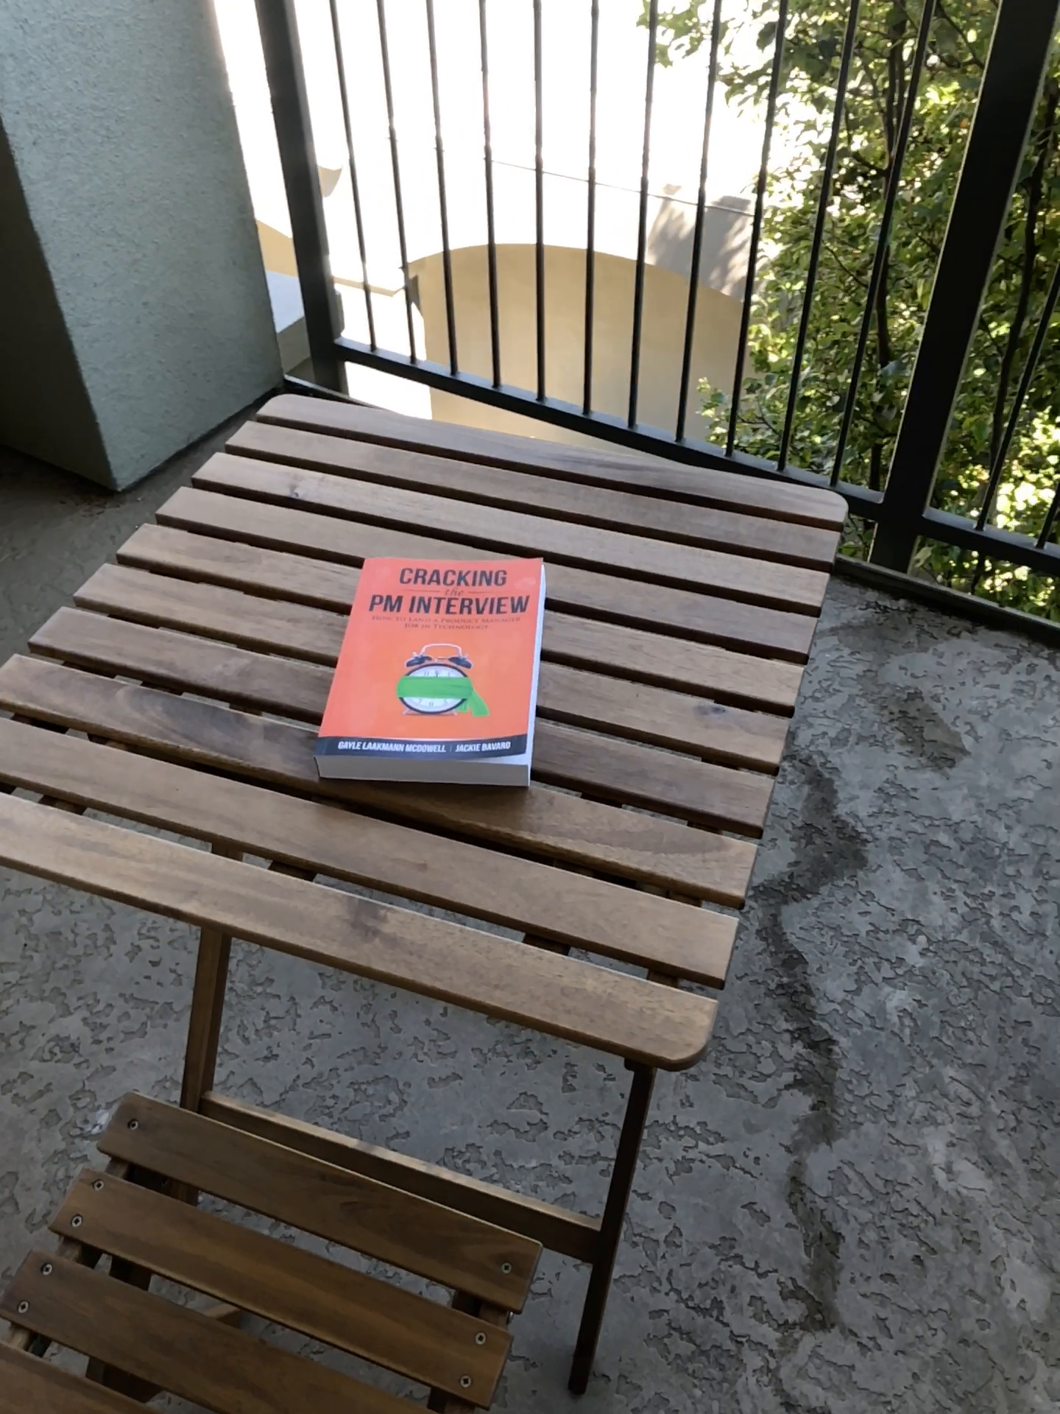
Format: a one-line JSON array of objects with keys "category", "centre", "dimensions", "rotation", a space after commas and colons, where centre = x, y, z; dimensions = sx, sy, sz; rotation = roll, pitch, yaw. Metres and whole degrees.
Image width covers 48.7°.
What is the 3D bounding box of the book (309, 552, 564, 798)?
[{"category": "book", "centre": [-0.064, -0.033, 0.917], "dimensions": [0.170, 0.040, 0.231], "rotation": [2, 45, 3]}]
